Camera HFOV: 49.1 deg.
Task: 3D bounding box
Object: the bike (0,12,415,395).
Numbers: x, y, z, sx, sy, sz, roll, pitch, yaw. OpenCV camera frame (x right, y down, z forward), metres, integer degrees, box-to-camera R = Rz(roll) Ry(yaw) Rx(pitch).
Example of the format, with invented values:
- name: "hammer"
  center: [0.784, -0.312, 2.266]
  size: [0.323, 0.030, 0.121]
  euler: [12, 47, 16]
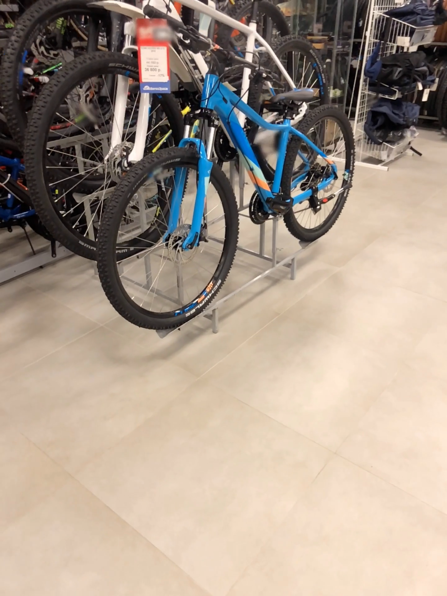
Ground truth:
- name: "bike"
  center: [0.068, -0.578, 2.103]
  size: [0.631, 1.082, 1.708]
  euler: [22, 38, 32]
